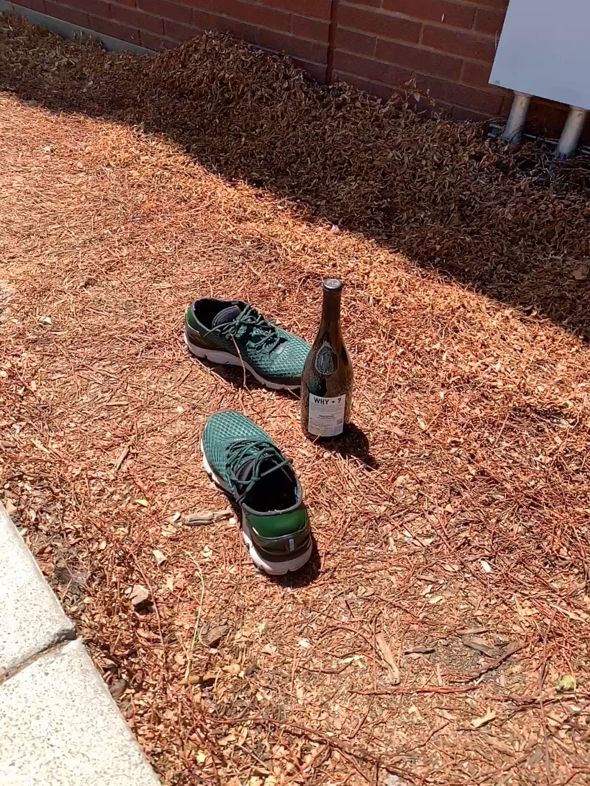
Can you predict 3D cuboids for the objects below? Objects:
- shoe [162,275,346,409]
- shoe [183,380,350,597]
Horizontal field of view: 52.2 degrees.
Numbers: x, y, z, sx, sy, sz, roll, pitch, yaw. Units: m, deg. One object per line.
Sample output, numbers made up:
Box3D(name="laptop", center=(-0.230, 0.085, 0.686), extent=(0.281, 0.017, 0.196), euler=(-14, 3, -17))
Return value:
Box3D(name="shoe", center=(-0.075, -0.099, 1.100), extent=(0.301, 0.099, 0.131), euler=(21, 47, 16))
Box3D(name="shoe", center=(-0.052, 0.126, 0.881), extent=(0.120, 0.099, 0.292), euler=(-18, 49, -21))
